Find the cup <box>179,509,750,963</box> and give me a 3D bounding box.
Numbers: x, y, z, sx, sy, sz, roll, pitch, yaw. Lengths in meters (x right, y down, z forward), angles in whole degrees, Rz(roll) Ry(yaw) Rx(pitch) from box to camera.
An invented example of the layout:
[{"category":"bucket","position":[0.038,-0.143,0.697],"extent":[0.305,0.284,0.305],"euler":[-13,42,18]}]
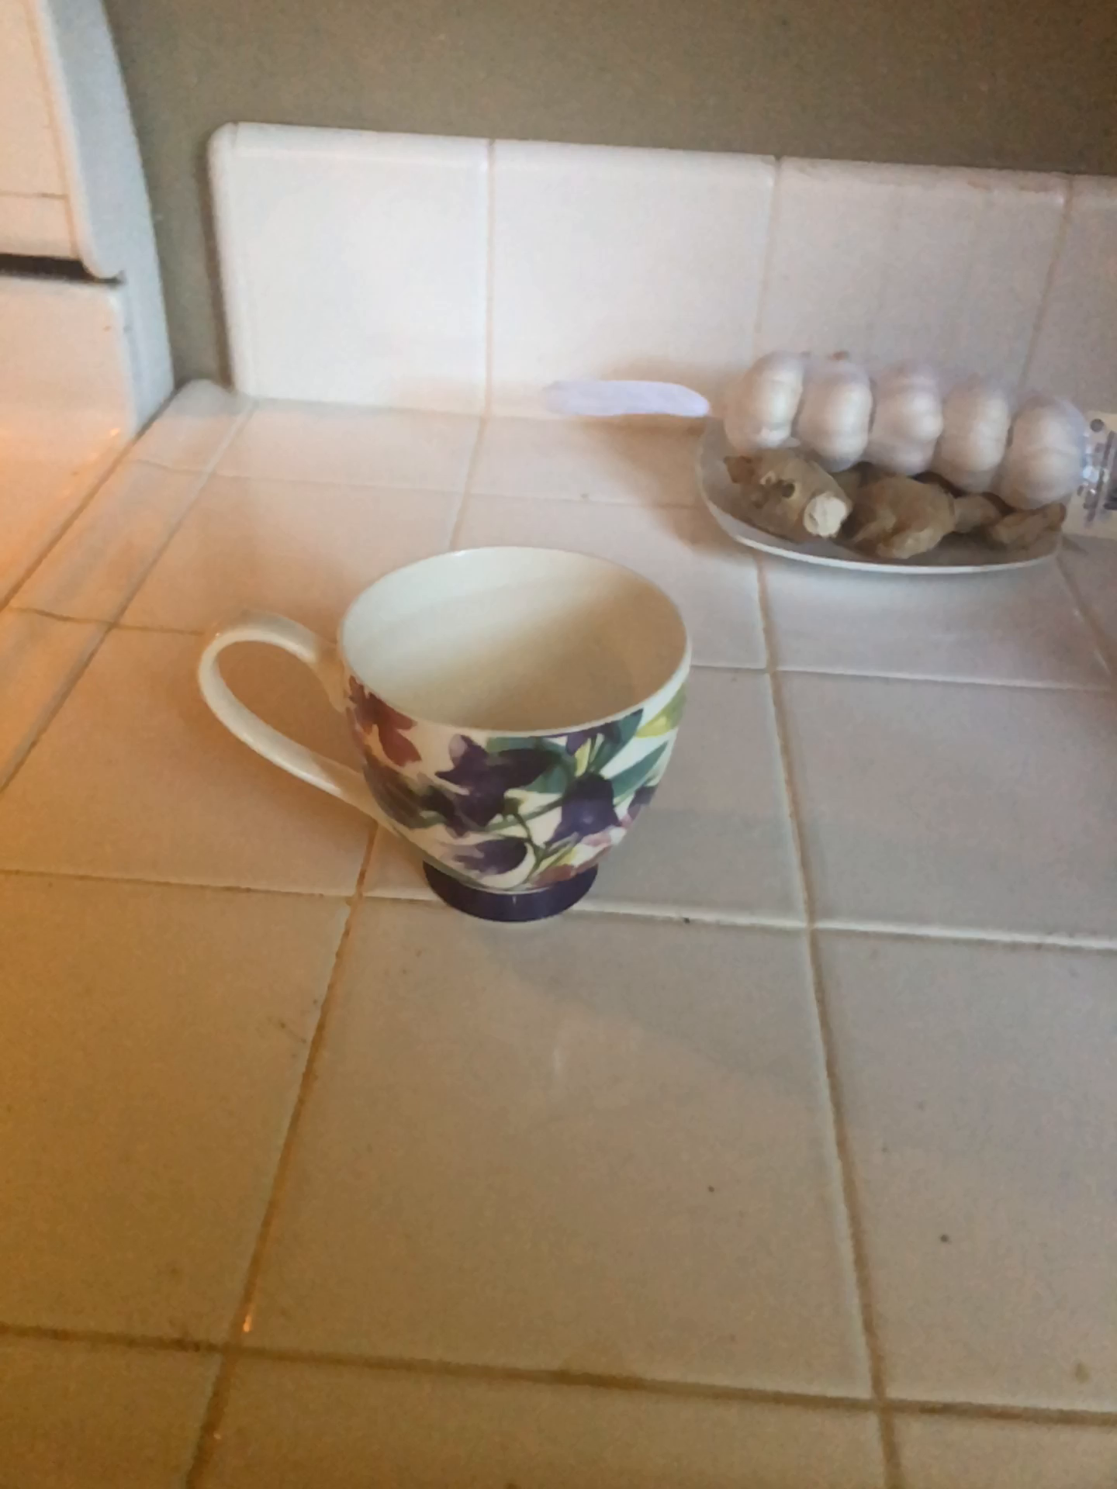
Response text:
[{"category":"cup","position":[-0.034,-0.009,0.389],"extent":[0.150,0.079,0.111],"euler":[-5,39,-11]}]
